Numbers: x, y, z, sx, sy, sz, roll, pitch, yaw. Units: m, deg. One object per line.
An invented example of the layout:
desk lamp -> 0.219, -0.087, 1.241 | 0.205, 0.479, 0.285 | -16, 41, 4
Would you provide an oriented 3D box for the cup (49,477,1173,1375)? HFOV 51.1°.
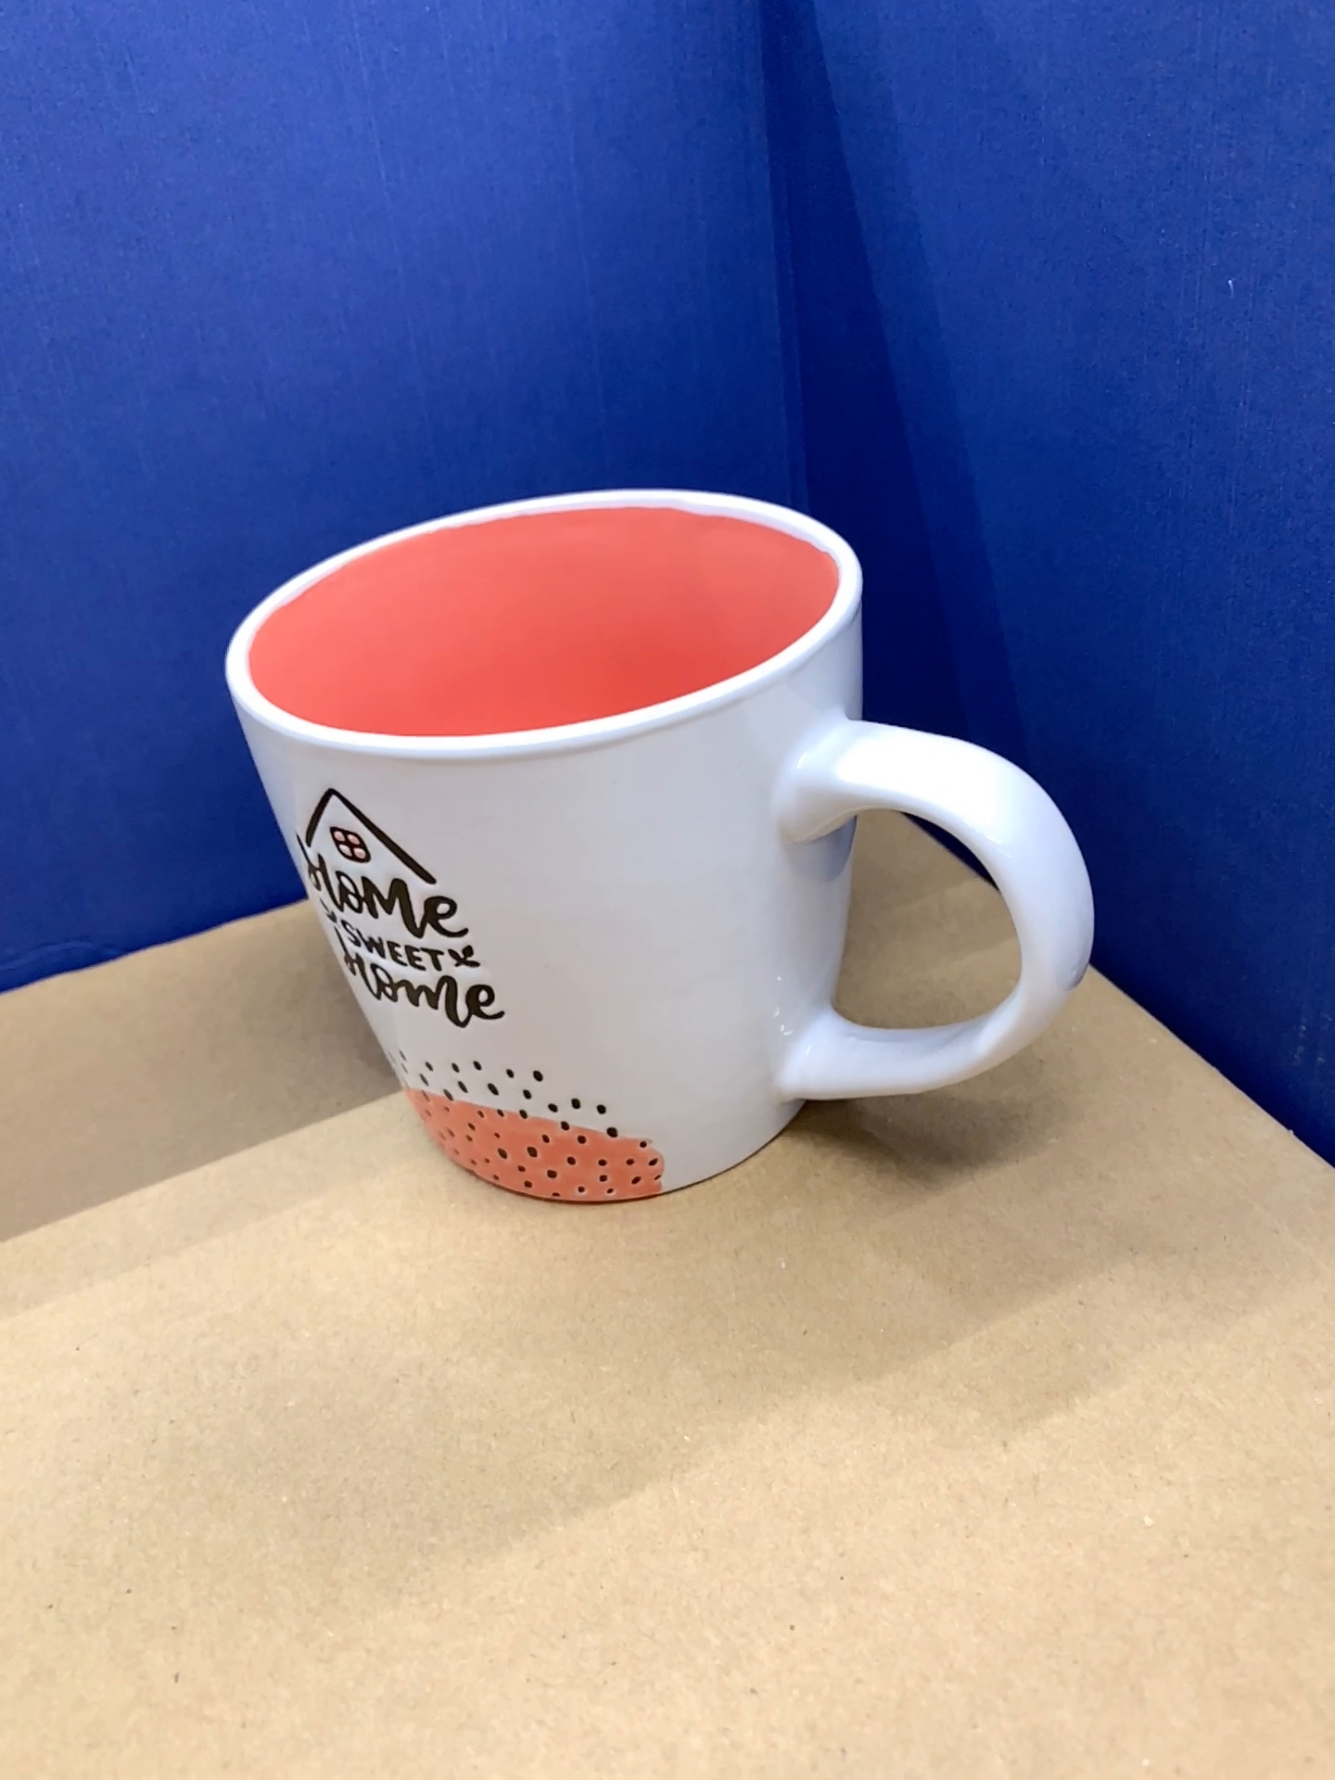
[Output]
cup -> -0.003, -0.008, 0.192 | 0.115, 0.070, 0.083 | 12, 36, 29
